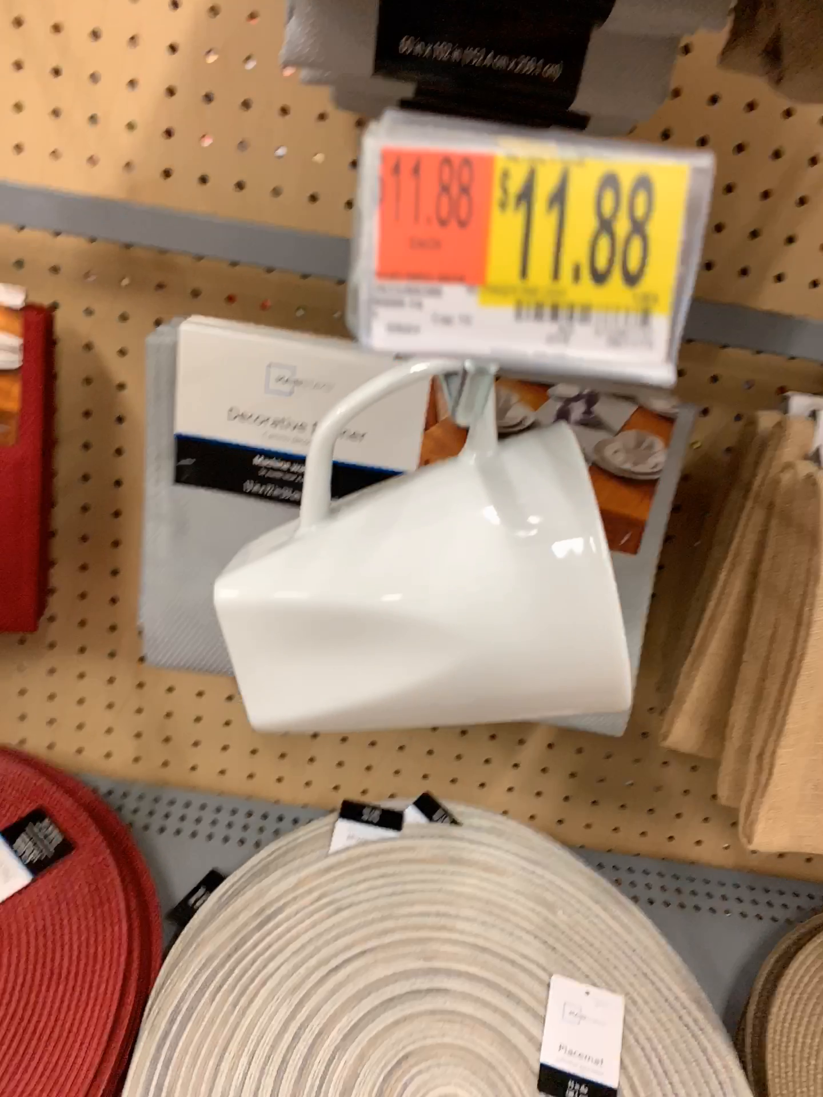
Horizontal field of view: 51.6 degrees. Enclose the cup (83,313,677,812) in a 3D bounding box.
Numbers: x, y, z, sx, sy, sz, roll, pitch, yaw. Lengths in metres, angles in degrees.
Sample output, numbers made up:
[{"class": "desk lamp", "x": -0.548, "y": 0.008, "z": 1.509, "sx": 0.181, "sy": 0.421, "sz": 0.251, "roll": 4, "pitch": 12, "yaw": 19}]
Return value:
[{"class": "cup", "x": -0.001, "y": 0.000, "z": 0.262, "sx": 0.140, "sy": 0.119, "sz": 0.090, "roll": -3, "pitch": 21, "yaw": 5}]
